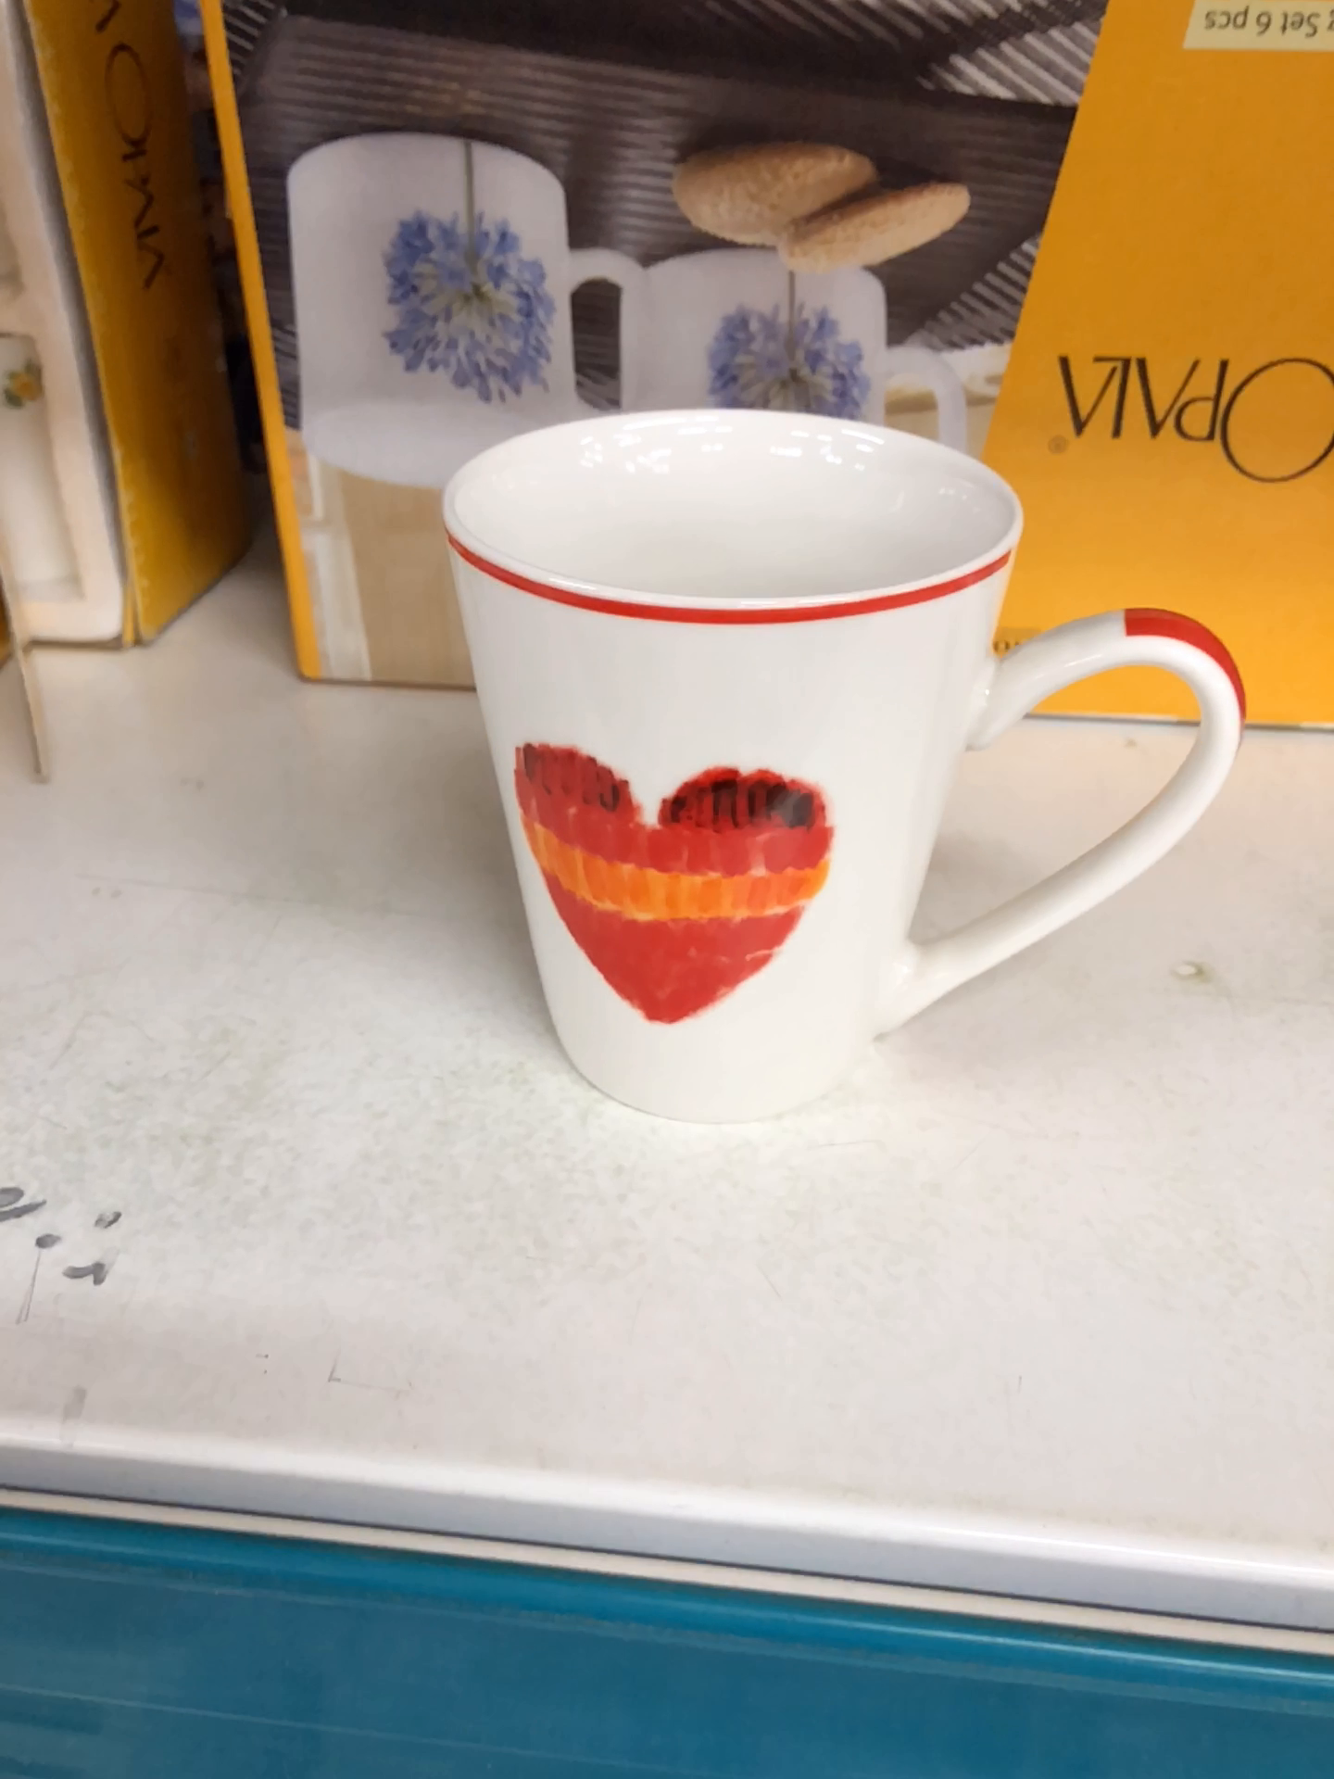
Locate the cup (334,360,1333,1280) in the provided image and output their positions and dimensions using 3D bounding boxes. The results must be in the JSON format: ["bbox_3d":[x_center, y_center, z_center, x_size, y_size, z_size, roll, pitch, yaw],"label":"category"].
[{"bbox_3d":[0.027,-0.016,0.227,0.120,0.099,0.081,7,33,10],"label":"cup"}]
